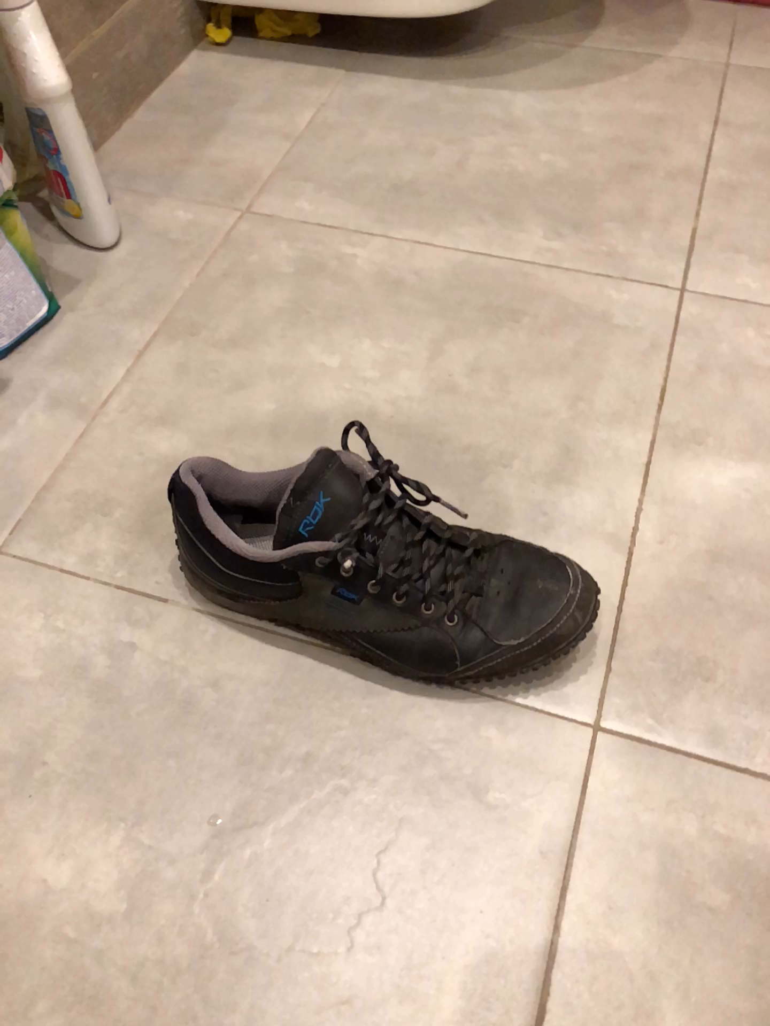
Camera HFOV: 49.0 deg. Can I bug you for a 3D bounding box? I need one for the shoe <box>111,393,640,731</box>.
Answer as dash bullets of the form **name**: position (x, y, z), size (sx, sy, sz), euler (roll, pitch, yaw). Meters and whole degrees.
- **shoe**: position (-0.003, 0.027, 0.503), size (0.270, 0.109, 0.101), euler (12, 55, 11)
